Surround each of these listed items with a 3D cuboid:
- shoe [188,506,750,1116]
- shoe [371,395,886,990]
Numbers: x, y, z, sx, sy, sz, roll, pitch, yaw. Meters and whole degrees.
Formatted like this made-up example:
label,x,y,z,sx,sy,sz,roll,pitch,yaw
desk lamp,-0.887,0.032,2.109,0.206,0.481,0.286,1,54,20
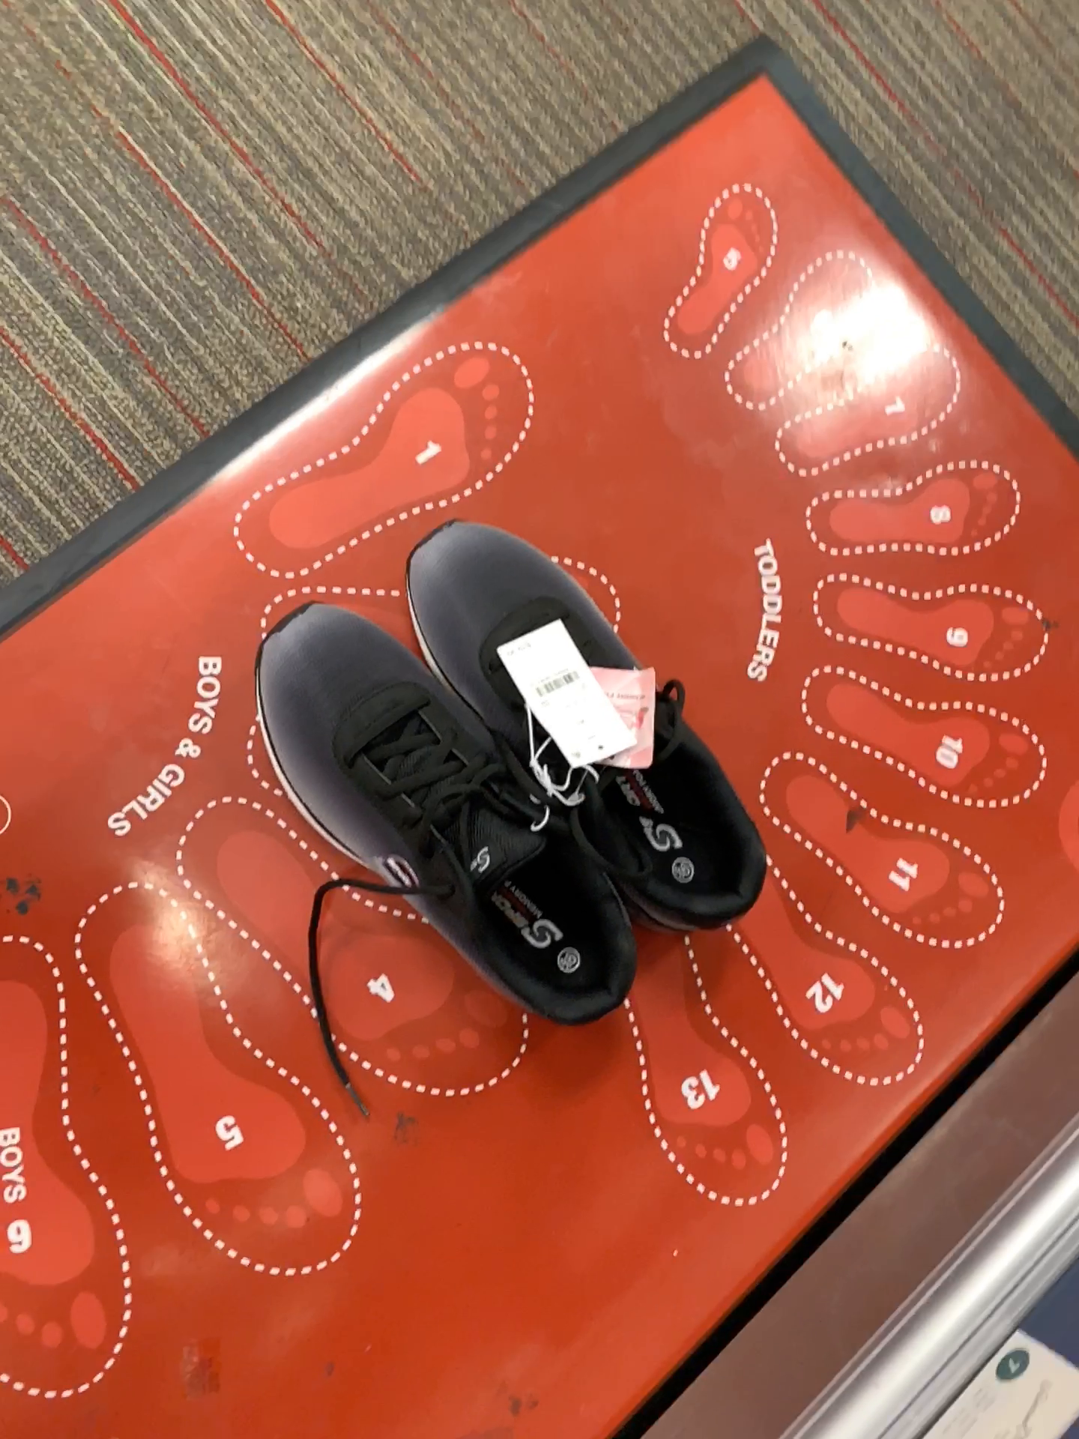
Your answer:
label,x,y,z,sx,sy,sz,roll,pitch,yaw
shoe,-0.035,0.043,0.528,0.100,0.100,0.260,-40,91,-12
shoe,0.035,-0.009,0.547,0.100,0.100,0.260,-36,91,-12
